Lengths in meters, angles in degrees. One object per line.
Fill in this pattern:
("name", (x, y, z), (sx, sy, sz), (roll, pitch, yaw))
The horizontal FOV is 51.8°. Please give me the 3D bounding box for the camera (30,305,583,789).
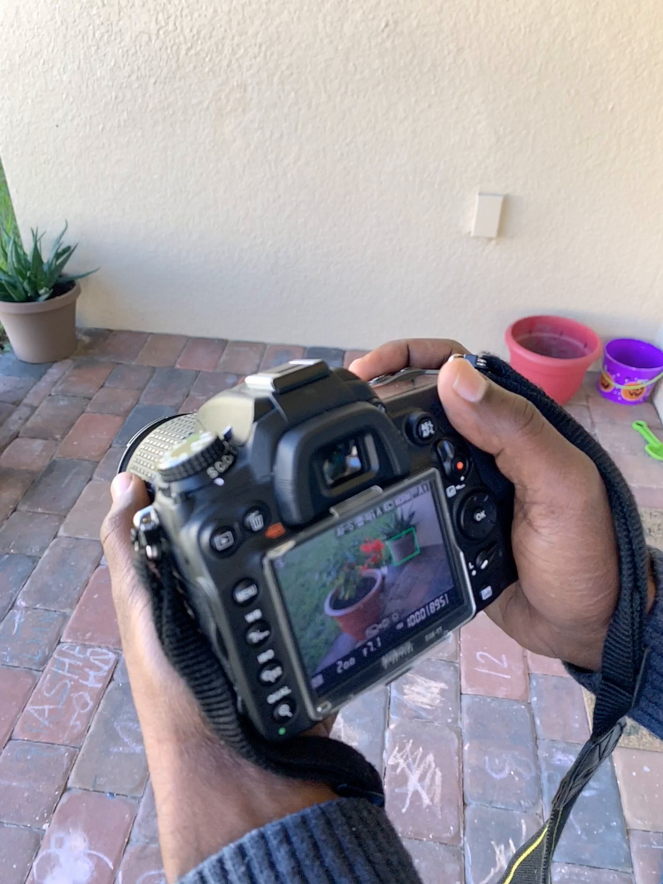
("camera", (-0.027, 0.015, 0.289), (0.131, 0.100, 0.200), (-24, 18, -28))
